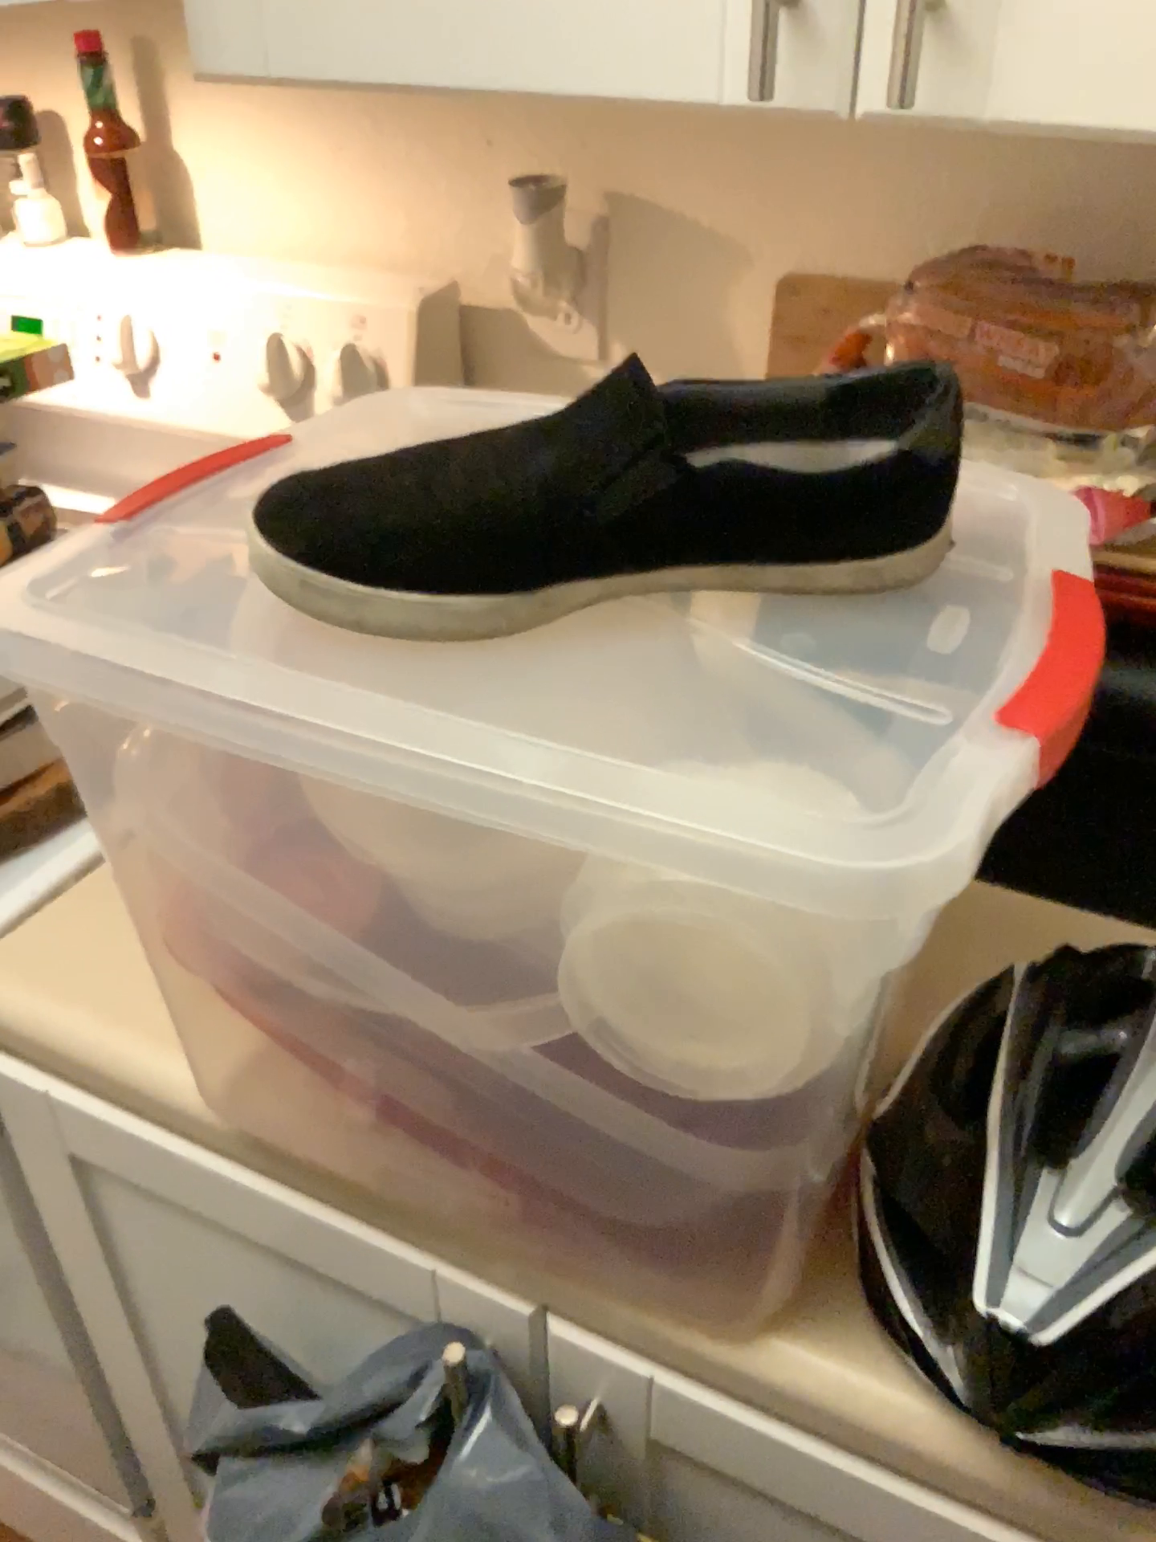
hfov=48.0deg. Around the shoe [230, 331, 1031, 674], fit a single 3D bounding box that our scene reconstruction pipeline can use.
[{"bbox_3d":[0.014,-0.106,0.487,0.270,0.070,0.100,-7,35,-9],"label":"shoe"}]
